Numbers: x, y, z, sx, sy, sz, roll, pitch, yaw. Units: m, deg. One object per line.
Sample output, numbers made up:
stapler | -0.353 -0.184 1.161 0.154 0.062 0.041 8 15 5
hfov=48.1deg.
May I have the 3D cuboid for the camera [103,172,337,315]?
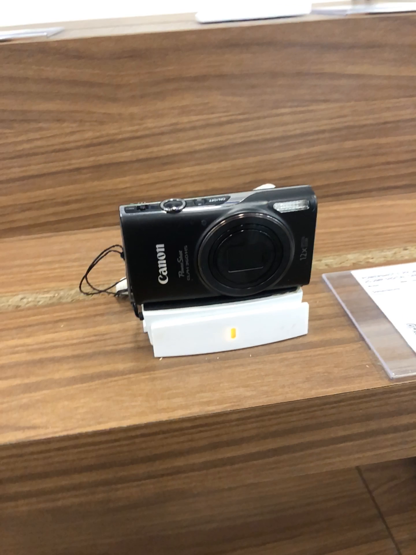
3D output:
camera | 0.007 -0.017 0.241 0.110 0.060 0.020 -7 35 -7
